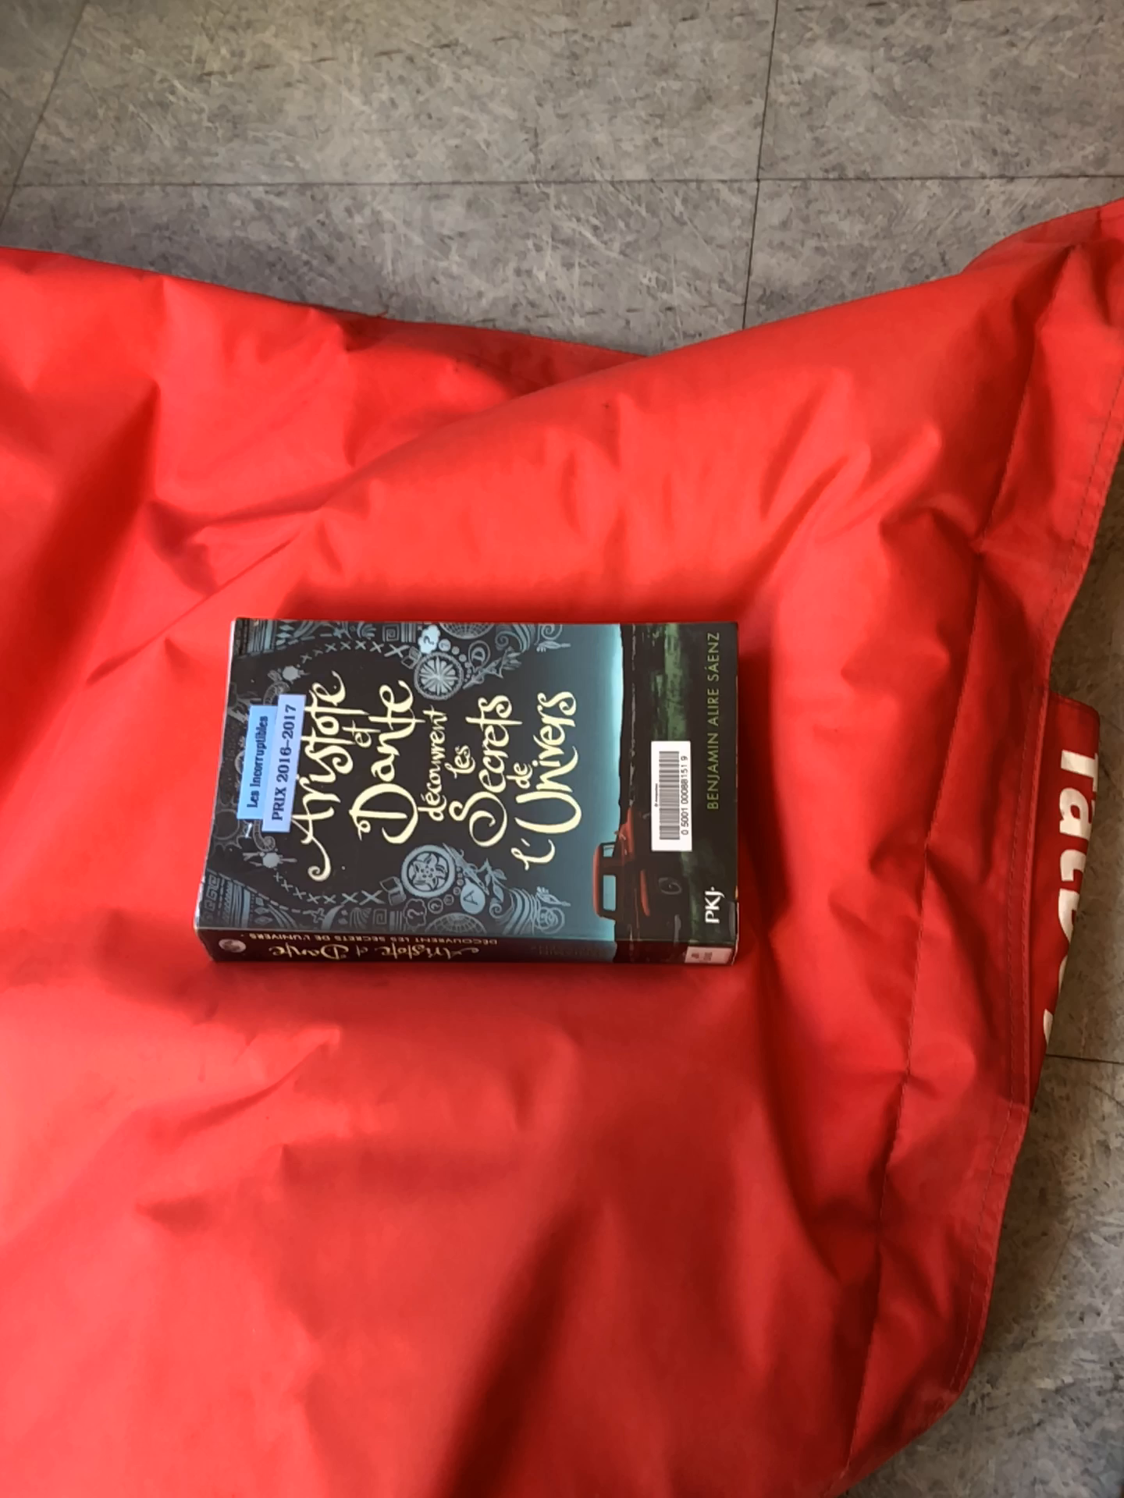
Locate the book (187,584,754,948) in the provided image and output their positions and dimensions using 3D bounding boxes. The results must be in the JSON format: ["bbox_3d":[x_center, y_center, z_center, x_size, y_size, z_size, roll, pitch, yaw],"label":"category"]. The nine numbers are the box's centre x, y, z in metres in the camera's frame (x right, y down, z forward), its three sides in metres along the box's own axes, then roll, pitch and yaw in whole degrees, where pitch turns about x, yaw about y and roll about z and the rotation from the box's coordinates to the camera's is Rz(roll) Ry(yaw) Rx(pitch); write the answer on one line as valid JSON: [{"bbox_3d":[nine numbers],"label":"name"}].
[{"bbox_3d":[-0.035,0.007,0.537,0.228,0.048,0.149,1,75,3],"label":"book"}]
